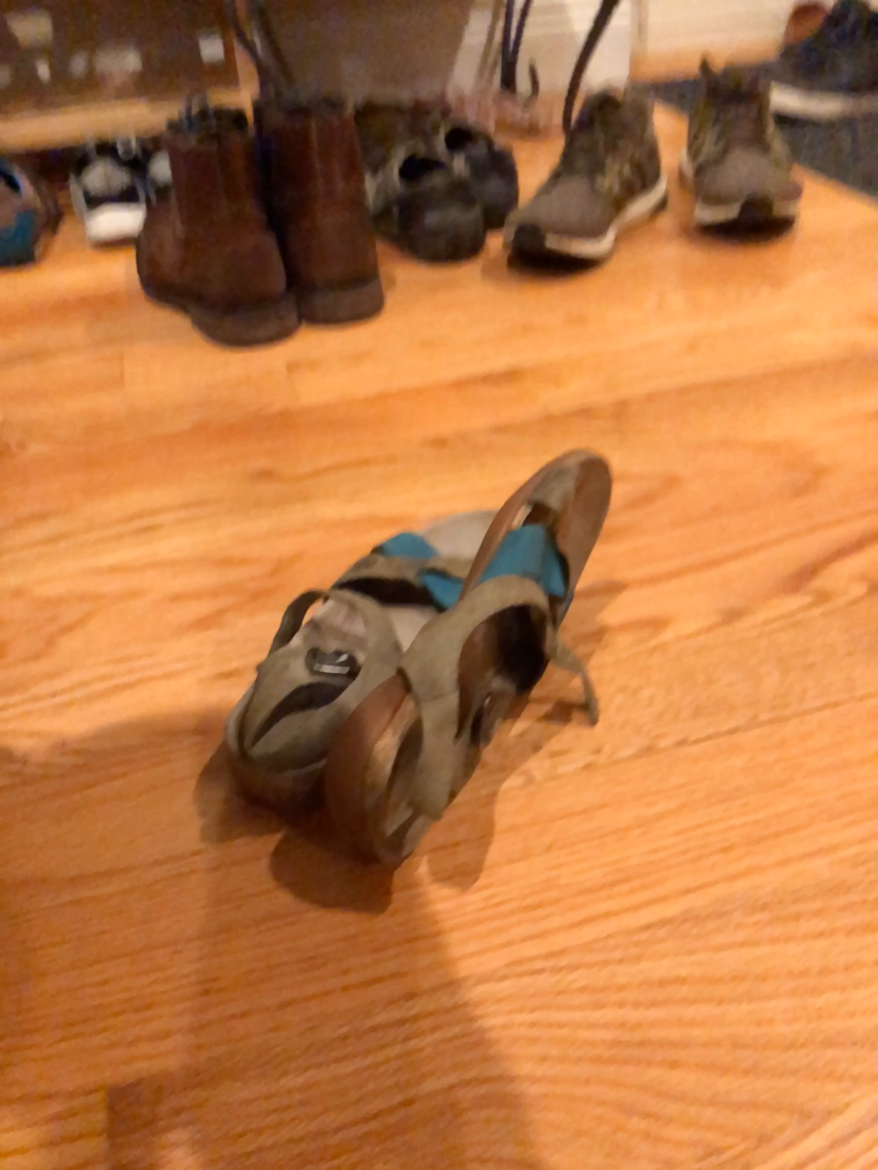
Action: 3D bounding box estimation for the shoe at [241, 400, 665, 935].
[{"bbox_3d":[0.023,0.020,0.438,0.065,0.103,0.239,18,43,27],"label":"shoe"}]

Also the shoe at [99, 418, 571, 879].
[{"bbox_3d":[-0.034,0.013,0.487,0.104,0.074,0.241,18,43,27],"label":"shoe"}]
